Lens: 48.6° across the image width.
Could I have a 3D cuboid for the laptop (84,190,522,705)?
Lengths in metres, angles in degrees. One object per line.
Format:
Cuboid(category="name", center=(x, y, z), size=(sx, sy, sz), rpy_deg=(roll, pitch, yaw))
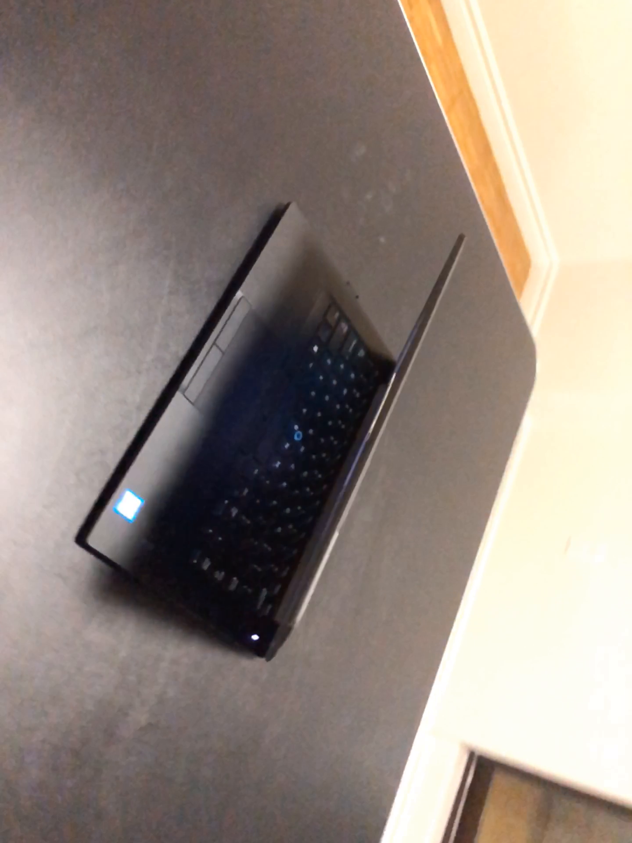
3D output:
Cuboid(category="laptop", center=(0.022, 0.017, 0.557), size=(0.221, 0.142, 0.319), rpy_deg=(51, 54, -42))
